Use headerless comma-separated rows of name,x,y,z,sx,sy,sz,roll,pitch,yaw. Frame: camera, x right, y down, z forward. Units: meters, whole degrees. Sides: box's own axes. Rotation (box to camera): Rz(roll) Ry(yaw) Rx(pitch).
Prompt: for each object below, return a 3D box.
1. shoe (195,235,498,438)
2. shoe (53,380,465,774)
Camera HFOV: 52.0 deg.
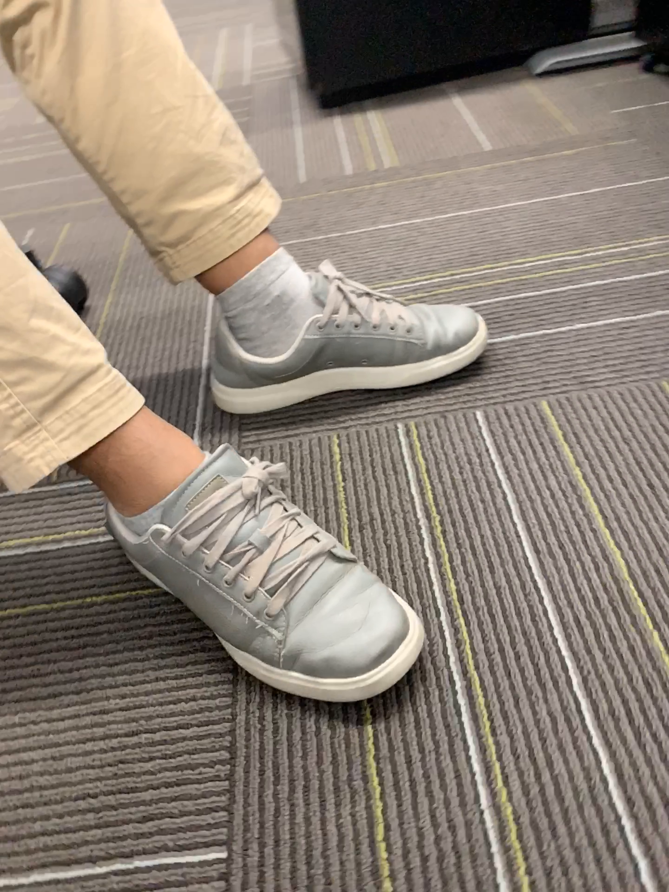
shoe,0.011,-0.113,0.704,0.280,0.109,0.121,-10,42,1
shoe,-0.054,0.080,0.504,0.271,0.139,0.120,25,53,33
